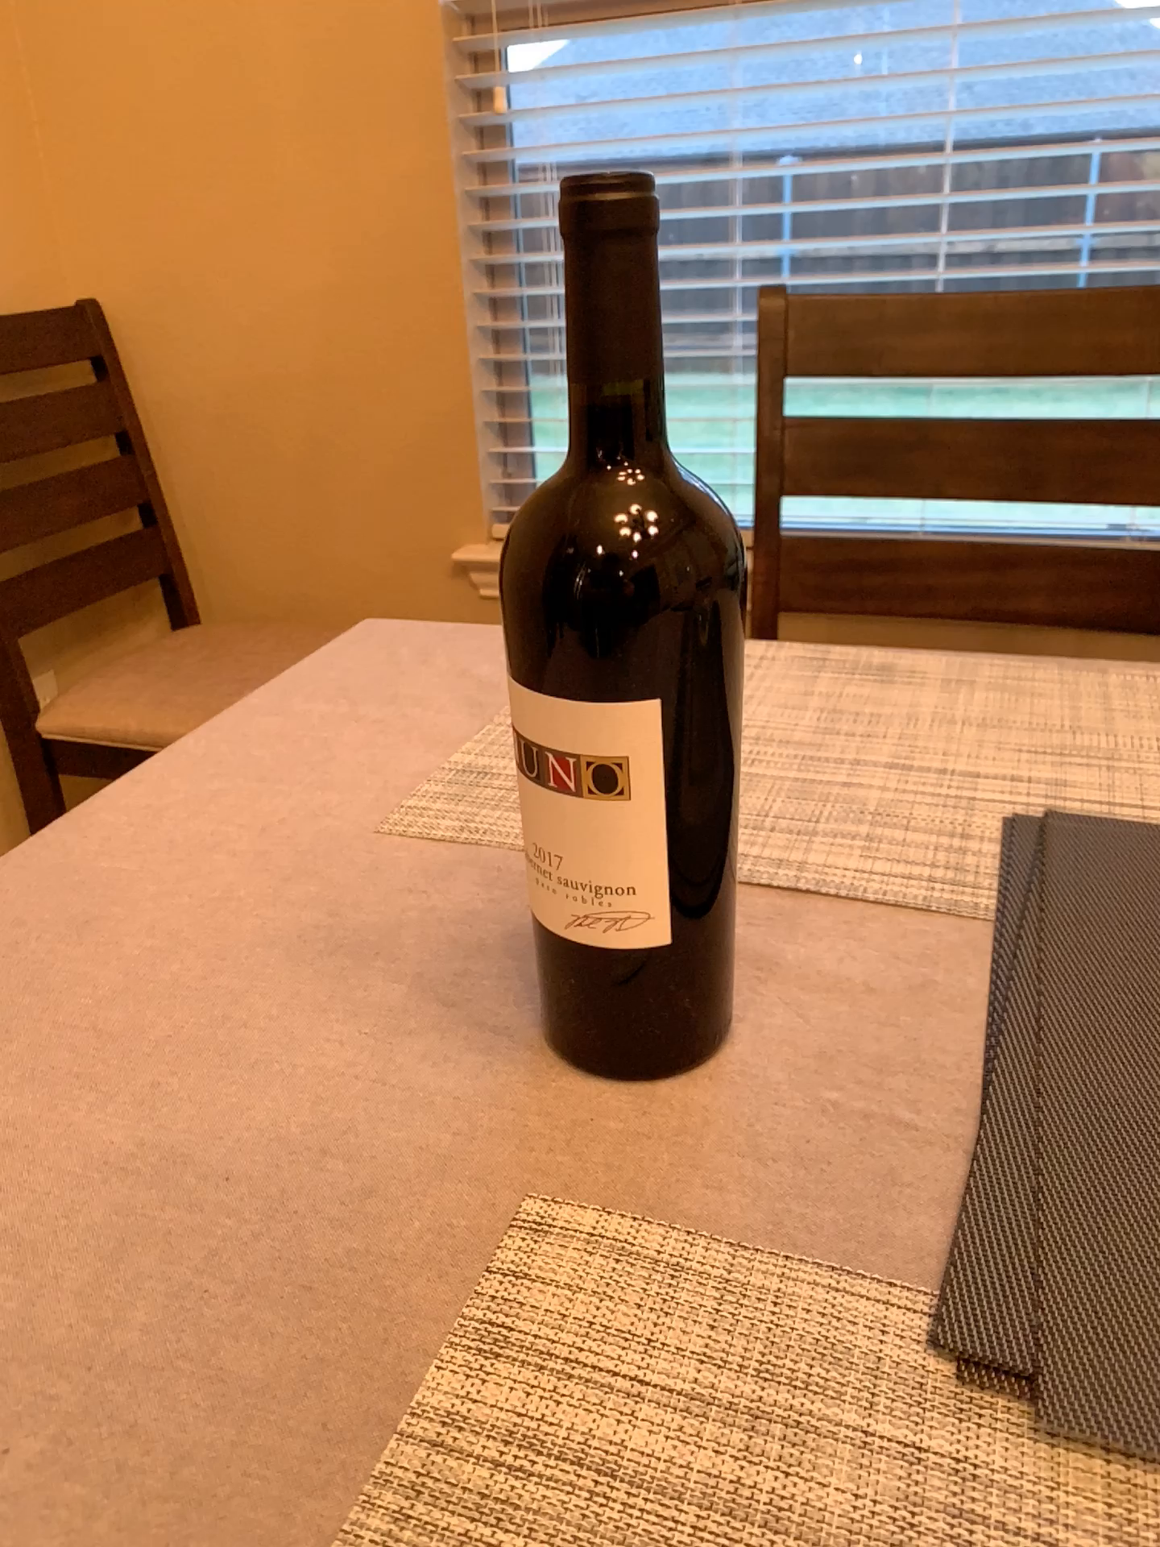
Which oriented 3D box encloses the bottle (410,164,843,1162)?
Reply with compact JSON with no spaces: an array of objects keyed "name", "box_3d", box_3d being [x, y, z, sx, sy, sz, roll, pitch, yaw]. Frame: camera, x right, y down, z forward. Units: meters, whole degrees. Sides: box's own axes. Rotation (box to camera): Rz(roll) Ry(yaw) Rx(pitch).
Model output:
[{"name":"bottle","box_3d":[0.019,-0.032,0.397,0.090,0.299,0.084,-3,23,1]}]
